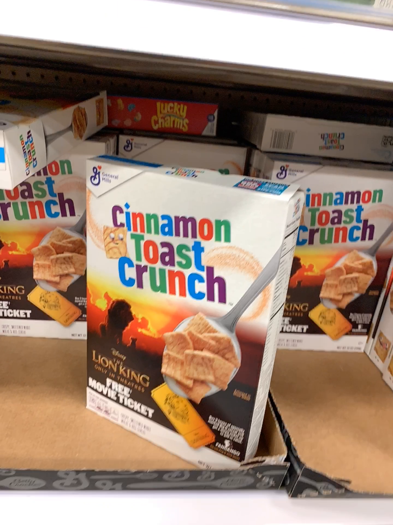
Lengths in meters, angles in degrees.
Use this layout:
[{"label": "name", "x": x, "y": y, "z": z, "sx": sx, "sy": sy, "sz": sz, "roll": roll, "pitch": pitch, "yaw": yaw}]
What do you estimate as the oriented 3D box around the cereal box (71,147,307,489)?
[{"label": "cereal box", "x": -0.021, "y": 0.048, "z": 0.387, "sx": 0.190, "sy": 0.279, "sz": 0.060, "roll": 16, "pitch": 24, "yaw": 24}]
